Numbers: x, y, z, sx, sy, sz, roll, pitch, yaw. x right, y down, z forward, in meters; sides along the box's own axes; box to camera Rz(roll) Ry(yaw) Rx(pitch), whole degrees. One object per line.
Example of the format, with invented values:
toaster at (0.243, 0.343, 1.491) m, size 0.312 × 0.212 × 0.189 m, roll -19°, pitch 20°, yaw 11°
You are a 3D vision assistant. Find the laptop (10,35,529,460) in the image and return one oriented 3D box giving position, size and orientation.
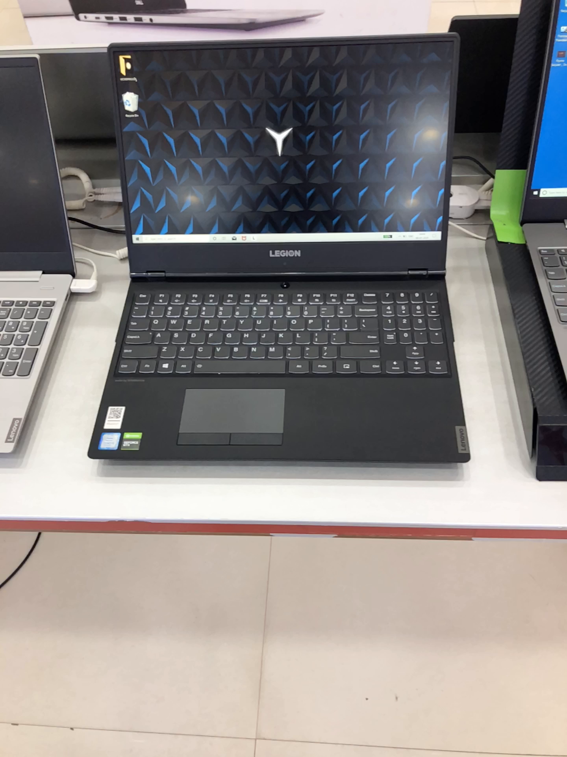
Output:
laptop at (-0.002, -0.128, 0.578) m, size 0.333 × 0.191 × 0.349 m, roll 0°, pitch 54°, yaw 3°
